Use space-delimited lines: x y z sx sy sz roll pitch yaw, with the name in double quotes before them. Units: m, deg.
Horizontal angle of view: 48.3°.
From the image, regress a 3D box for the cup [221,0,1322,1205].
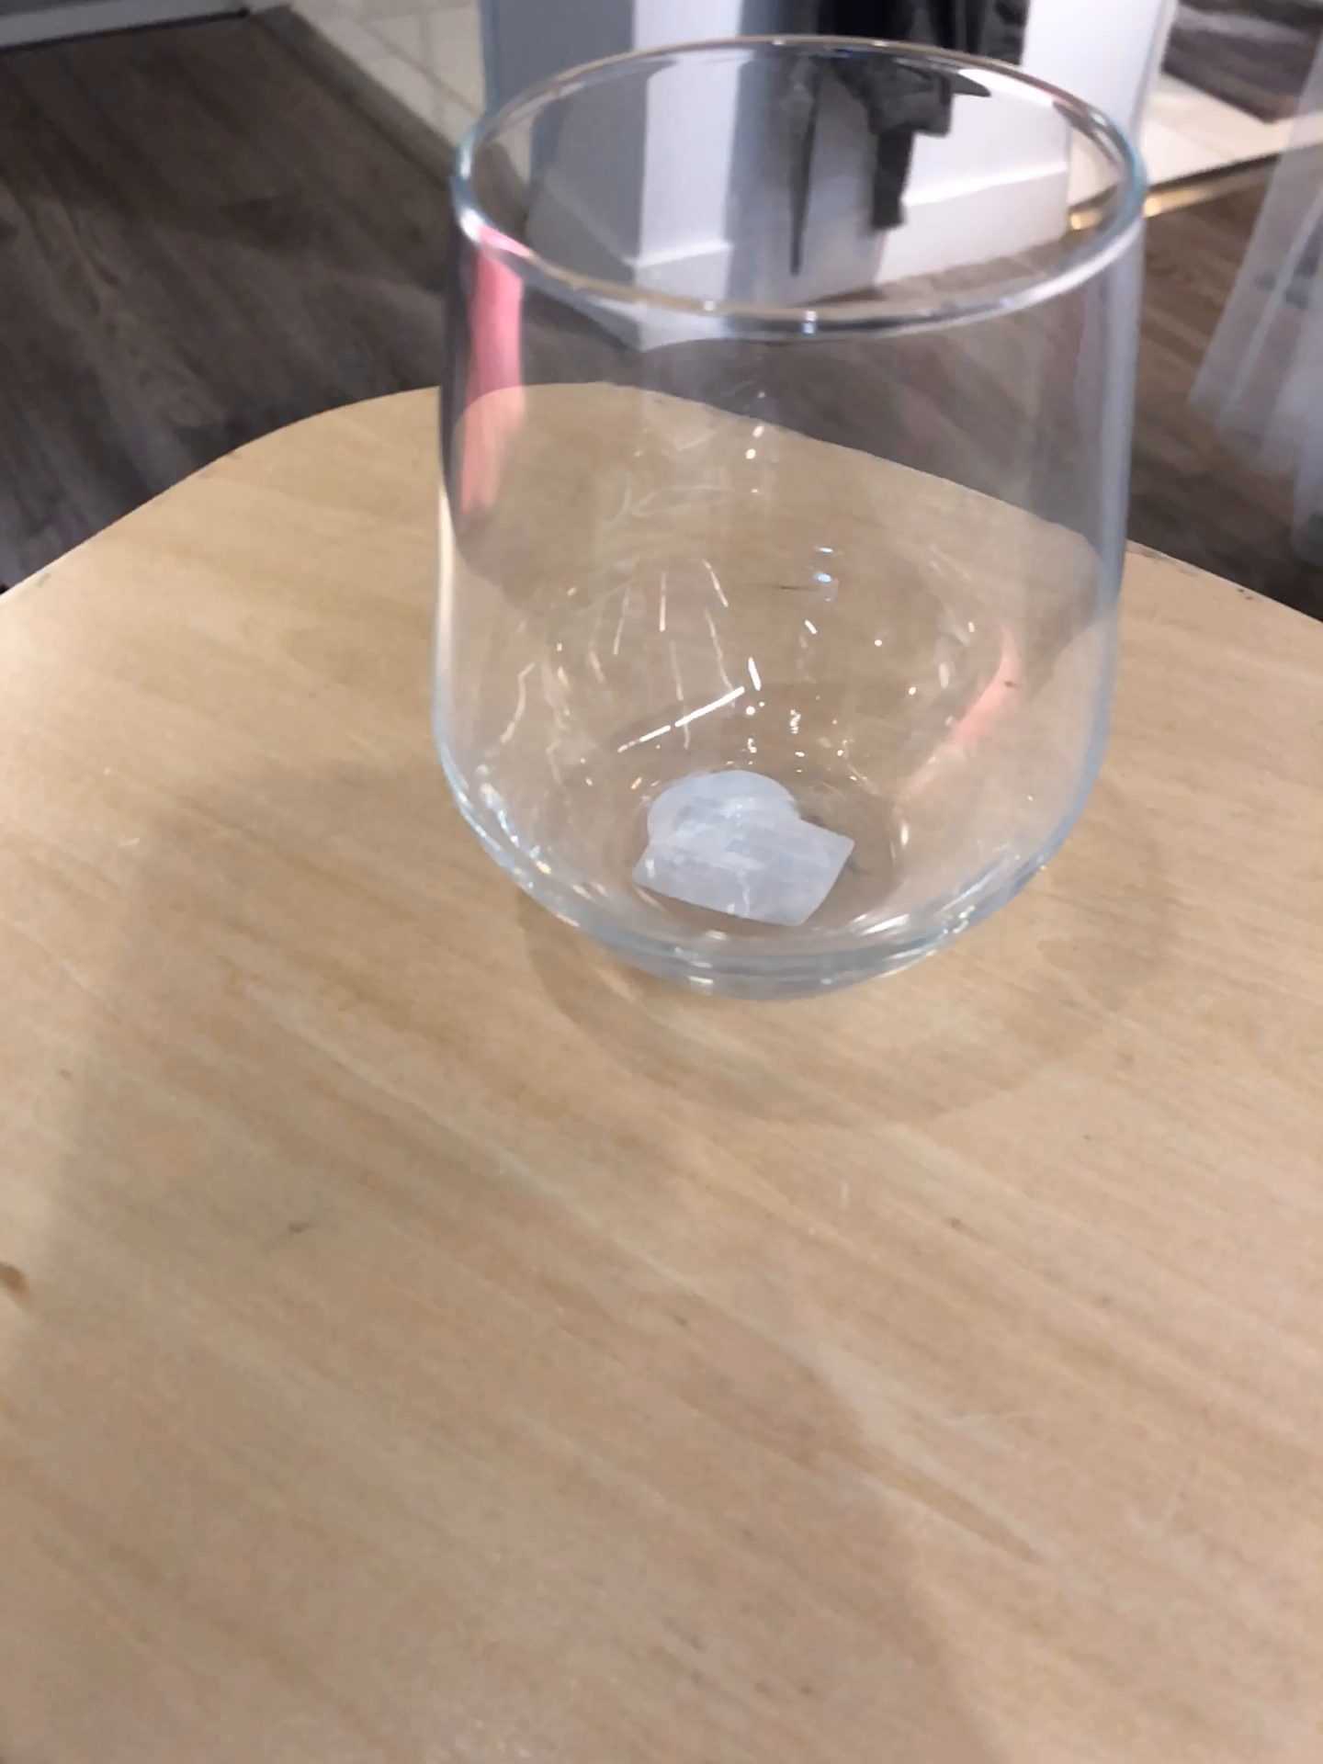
"cup" 0.016 -0.041 0.181 0.090 0.100 0.090 1 47 -1
